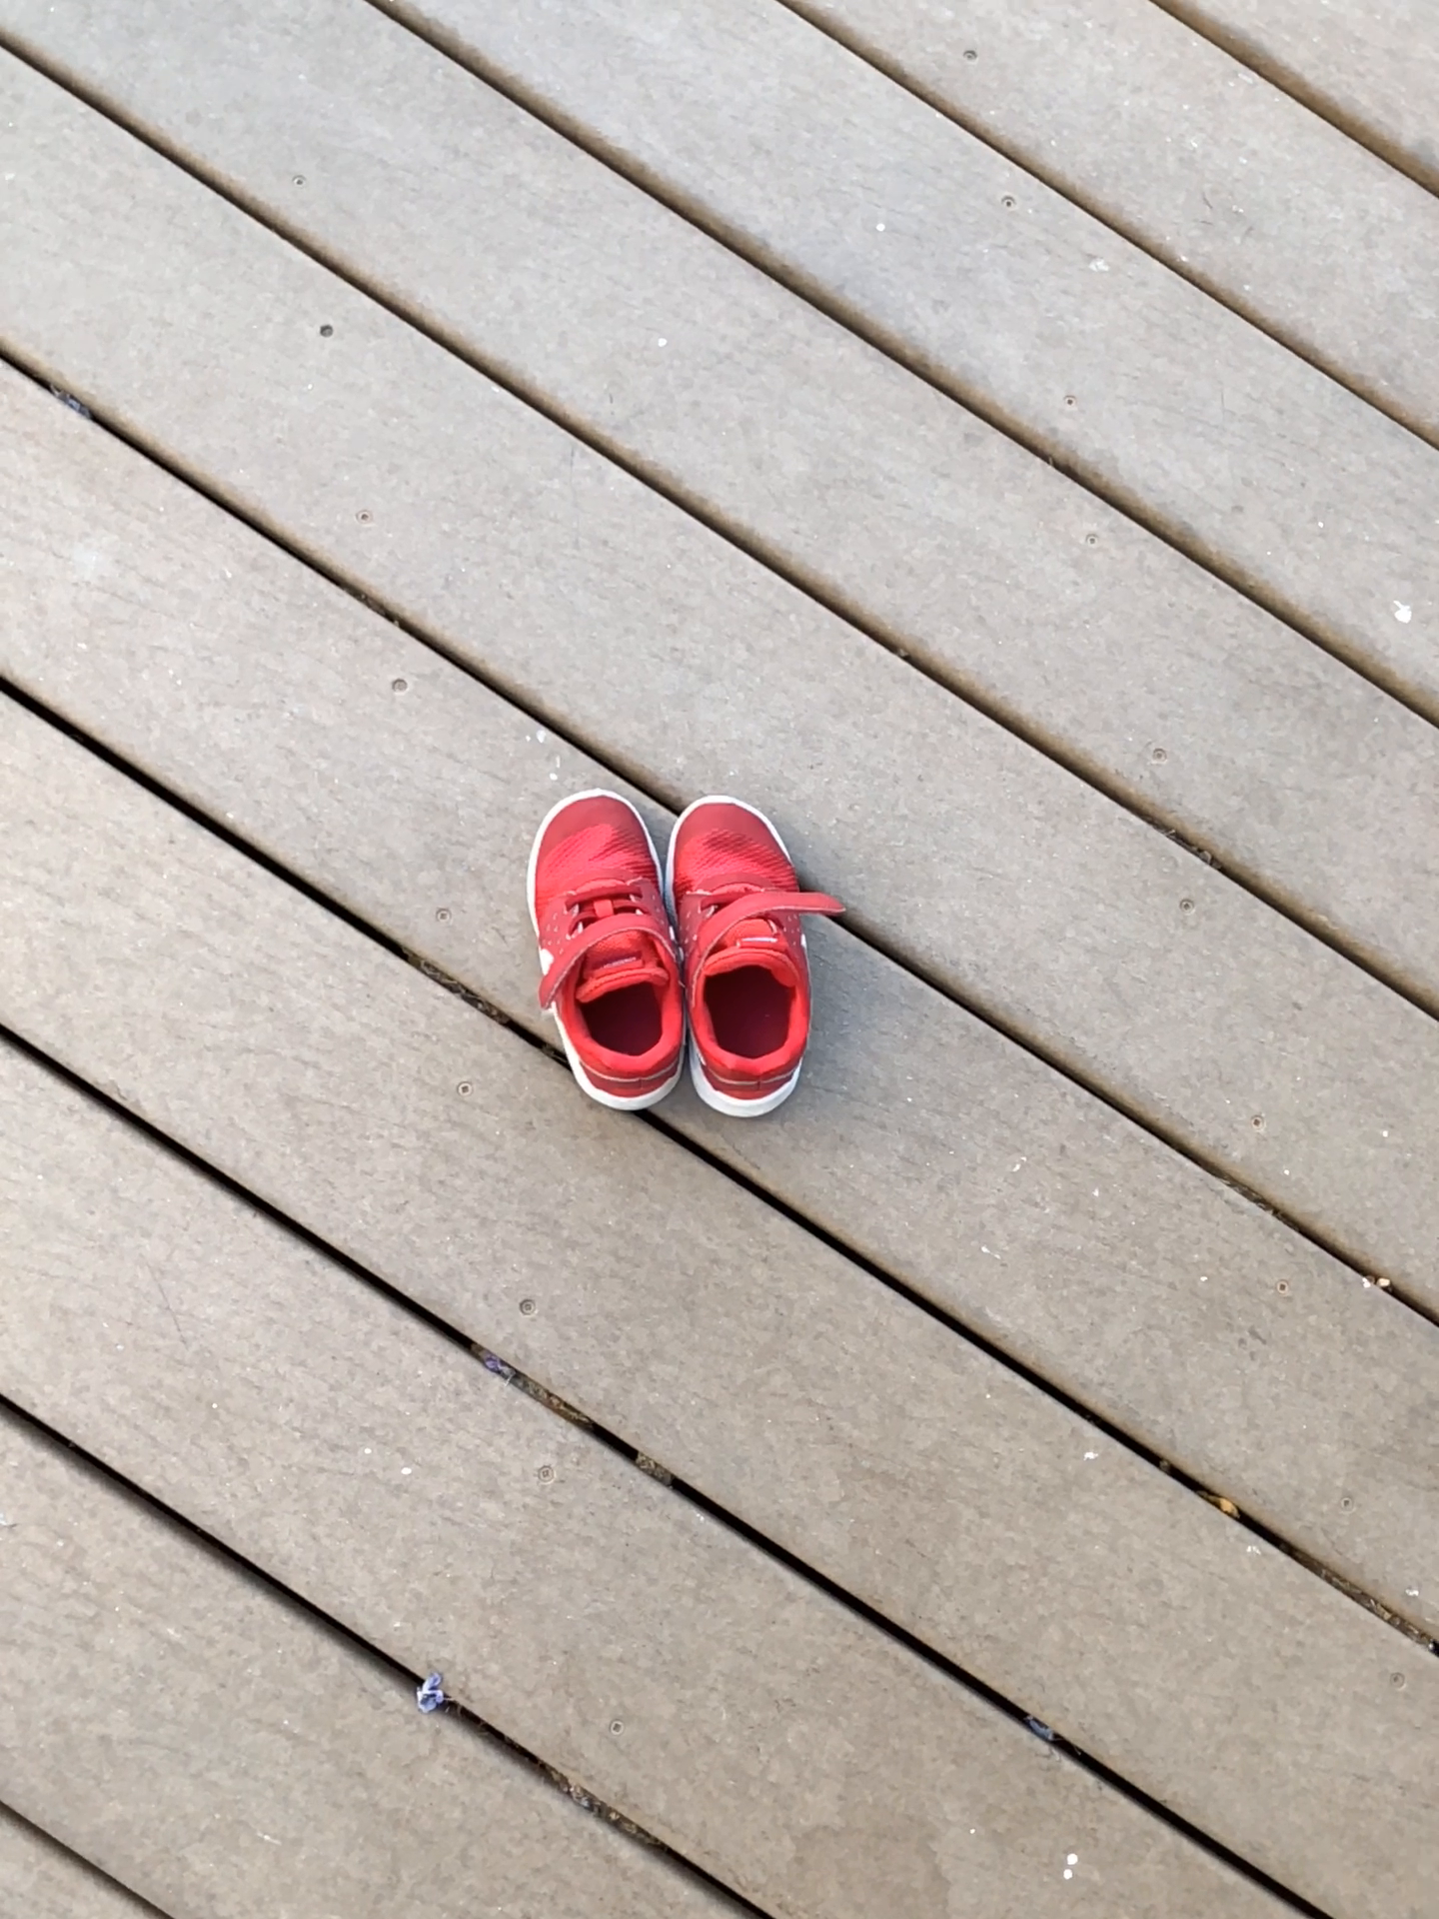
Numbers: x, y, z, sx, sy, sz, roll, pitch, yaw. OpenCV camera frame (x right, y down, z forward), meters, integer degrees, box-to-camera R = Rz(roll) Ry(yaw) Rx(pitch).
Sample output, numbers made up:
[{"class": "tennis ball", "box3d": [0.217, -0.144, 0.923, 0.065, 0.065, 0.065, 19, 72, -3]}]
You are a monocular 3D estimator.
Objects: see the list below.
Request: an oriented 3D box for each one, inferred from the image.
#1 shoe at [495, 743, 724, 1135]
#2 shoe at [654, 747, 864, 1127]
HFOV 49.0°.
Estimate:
[{"class": "shoe", "box3d": [-0.056, -0.007, 0.763, 0.077, 0.087, 0.167, -9, 82, -8]}, {"class": "shoe", "box3d": [0.016, -0.008, 0.764, 0.077, 0.087, 0.167, -3, 81, -7]}]
